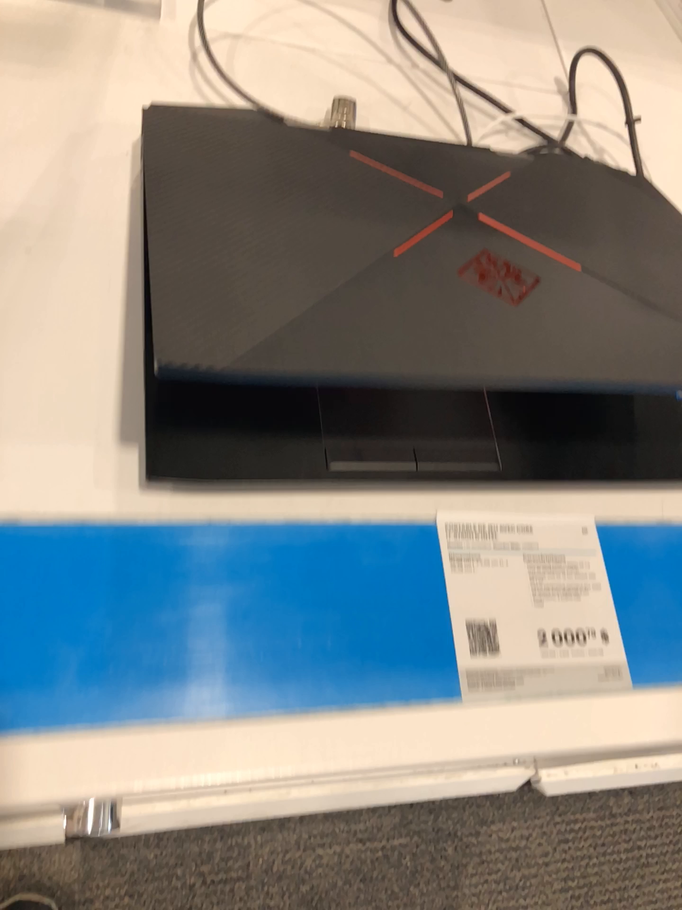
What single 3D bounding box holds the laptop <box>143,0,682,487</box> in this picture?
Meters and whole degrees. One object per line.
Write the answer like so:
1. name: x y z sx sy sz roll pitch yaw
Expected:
1. laptop: 0.073 -0.110 0.415 0.346 0.085 0.235 1 64 -17
